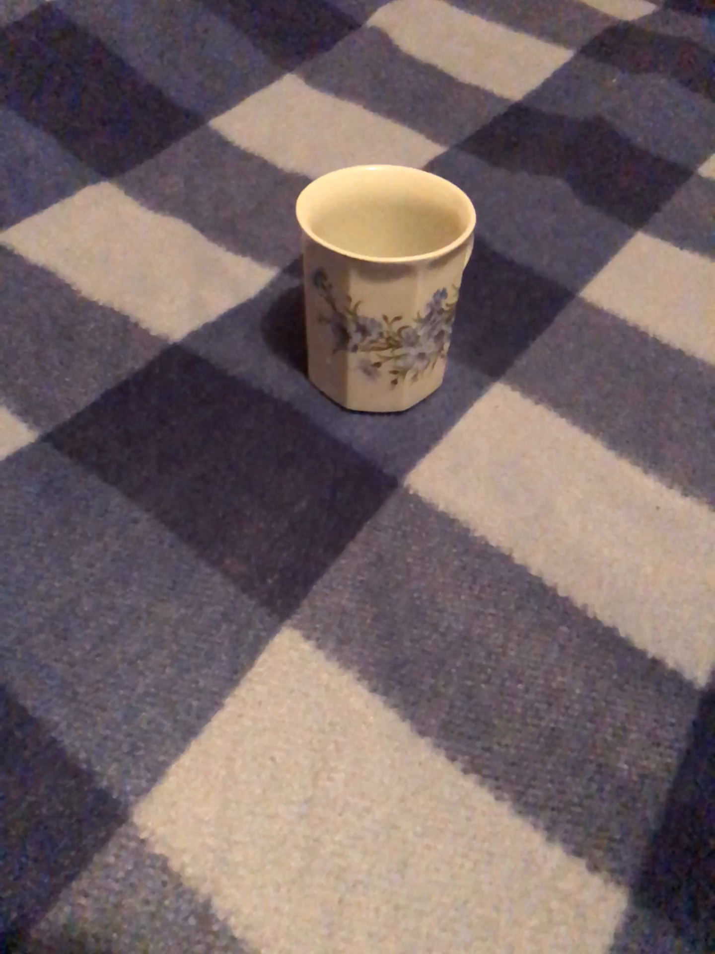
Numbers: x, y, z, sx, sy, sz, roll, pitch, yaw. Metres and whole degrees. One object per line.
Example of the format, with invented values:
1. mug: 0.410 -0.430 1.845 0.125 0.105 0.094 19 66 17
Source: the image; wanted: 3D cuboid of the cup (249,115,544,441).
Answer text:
1. cup: 0.015 -0.093 0.370 0.098 0.094 0.077 -32 61 -25
